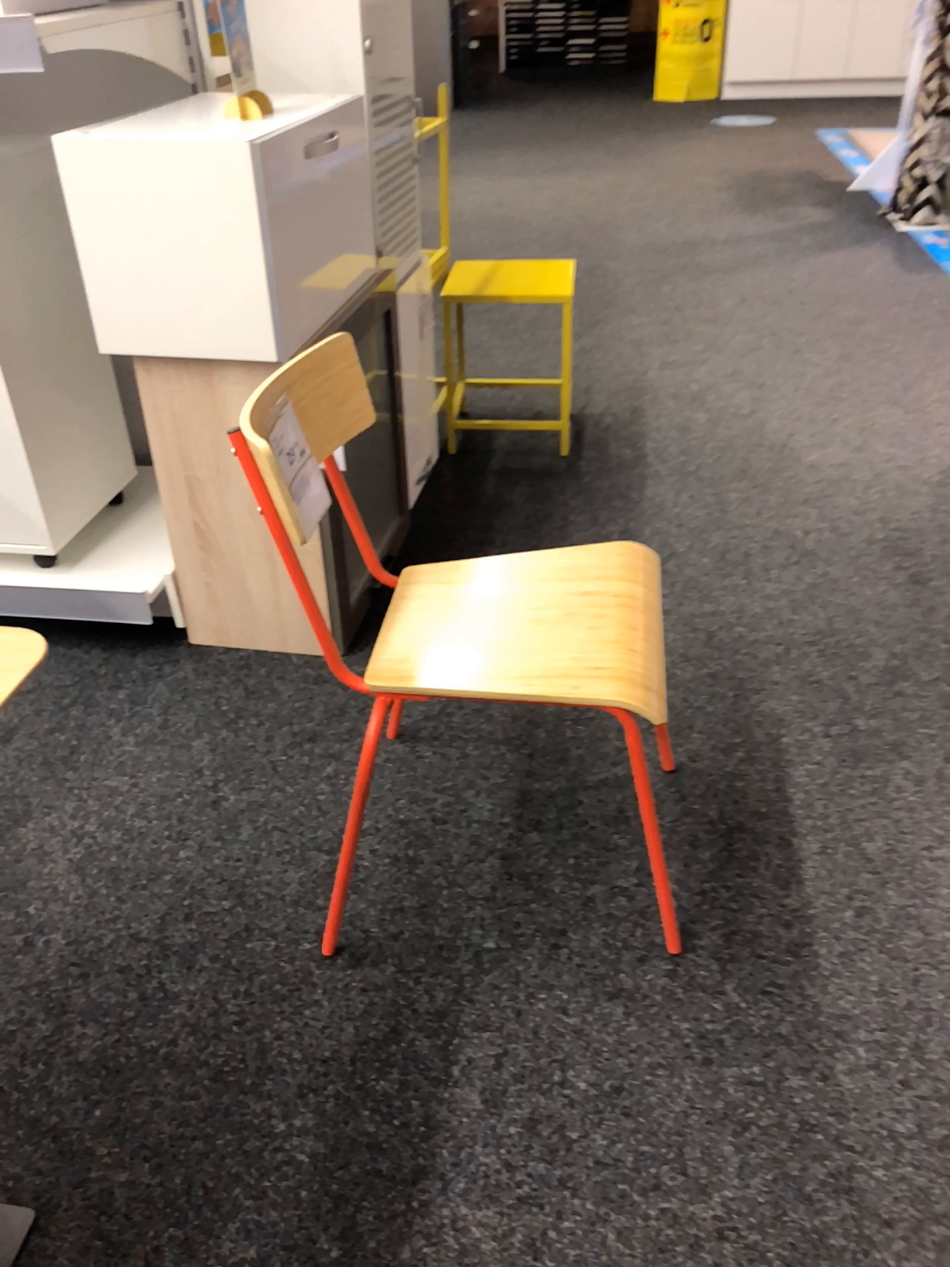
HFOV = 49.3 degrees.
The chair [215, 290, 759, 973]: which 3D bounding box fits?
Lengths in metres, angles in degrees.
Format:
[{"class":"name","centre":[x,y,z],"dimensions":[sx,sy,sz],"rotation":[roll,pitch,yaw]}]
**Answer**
[{"class":"chair","centre":[0.048,-0.010,1.487],"dimensions":[0.560,0.815,0.503],"rotation":[2,33,7]}]
